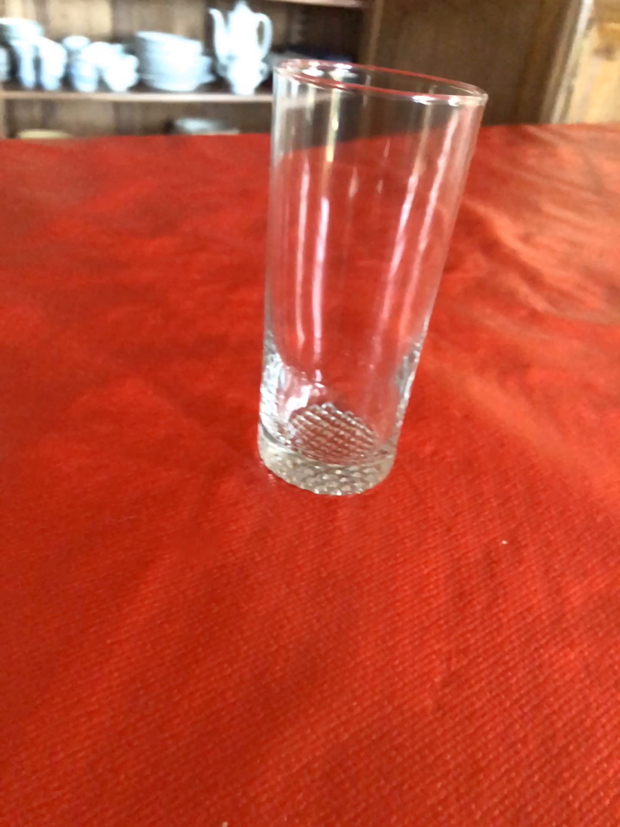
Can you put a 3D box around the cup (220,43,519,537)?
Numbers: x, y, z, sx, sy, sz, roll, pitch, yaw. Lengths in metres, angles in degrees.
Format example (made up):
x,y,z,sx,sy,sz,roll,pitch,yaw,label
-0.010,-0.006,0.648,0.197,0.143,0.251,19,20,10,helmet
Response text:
x,y,z,sx,sy,sz,roll,pitch,yaw,label
0.018,-0.044,0.250,0.070,0.149,0.070,5,32,-3,cup
